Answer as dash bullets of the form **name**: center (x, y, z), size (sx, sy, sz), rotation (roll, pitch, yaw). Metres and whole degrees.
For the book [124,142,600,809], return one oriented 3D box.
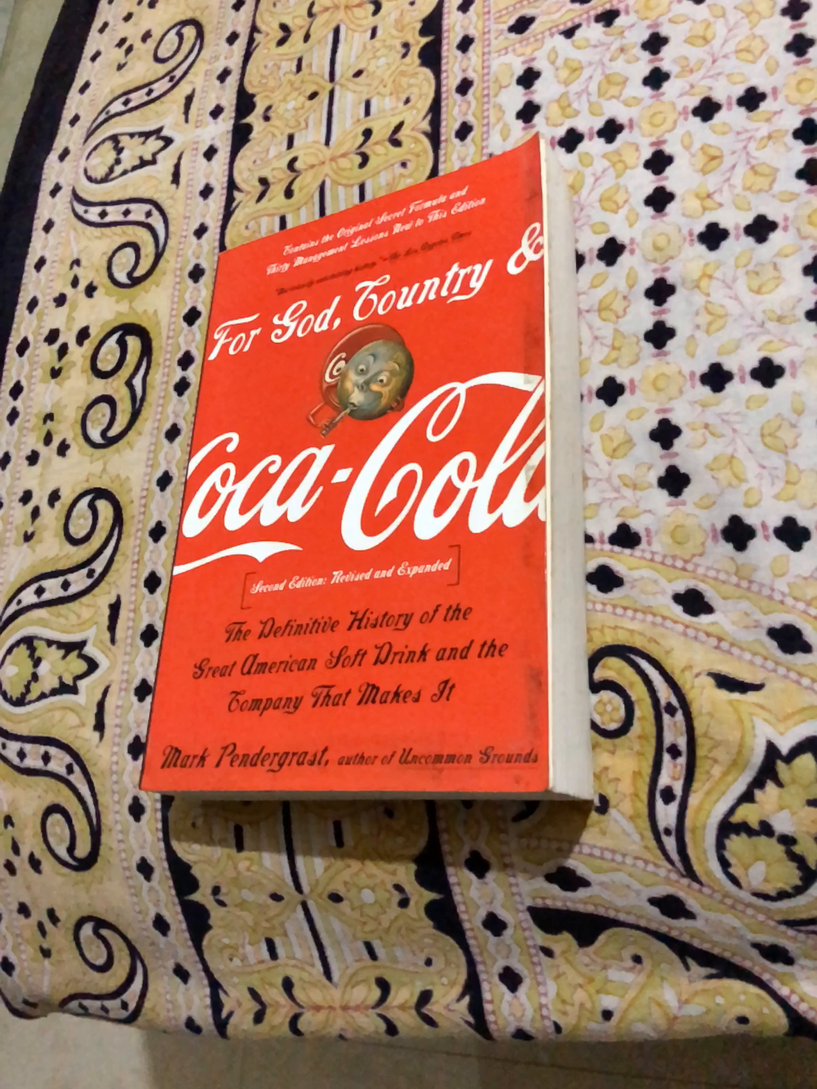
- **book**: center (-0.016, -0.020, 0.349), size (0.160, 0.050, 0.230), rotation (-8, 68, 27)
